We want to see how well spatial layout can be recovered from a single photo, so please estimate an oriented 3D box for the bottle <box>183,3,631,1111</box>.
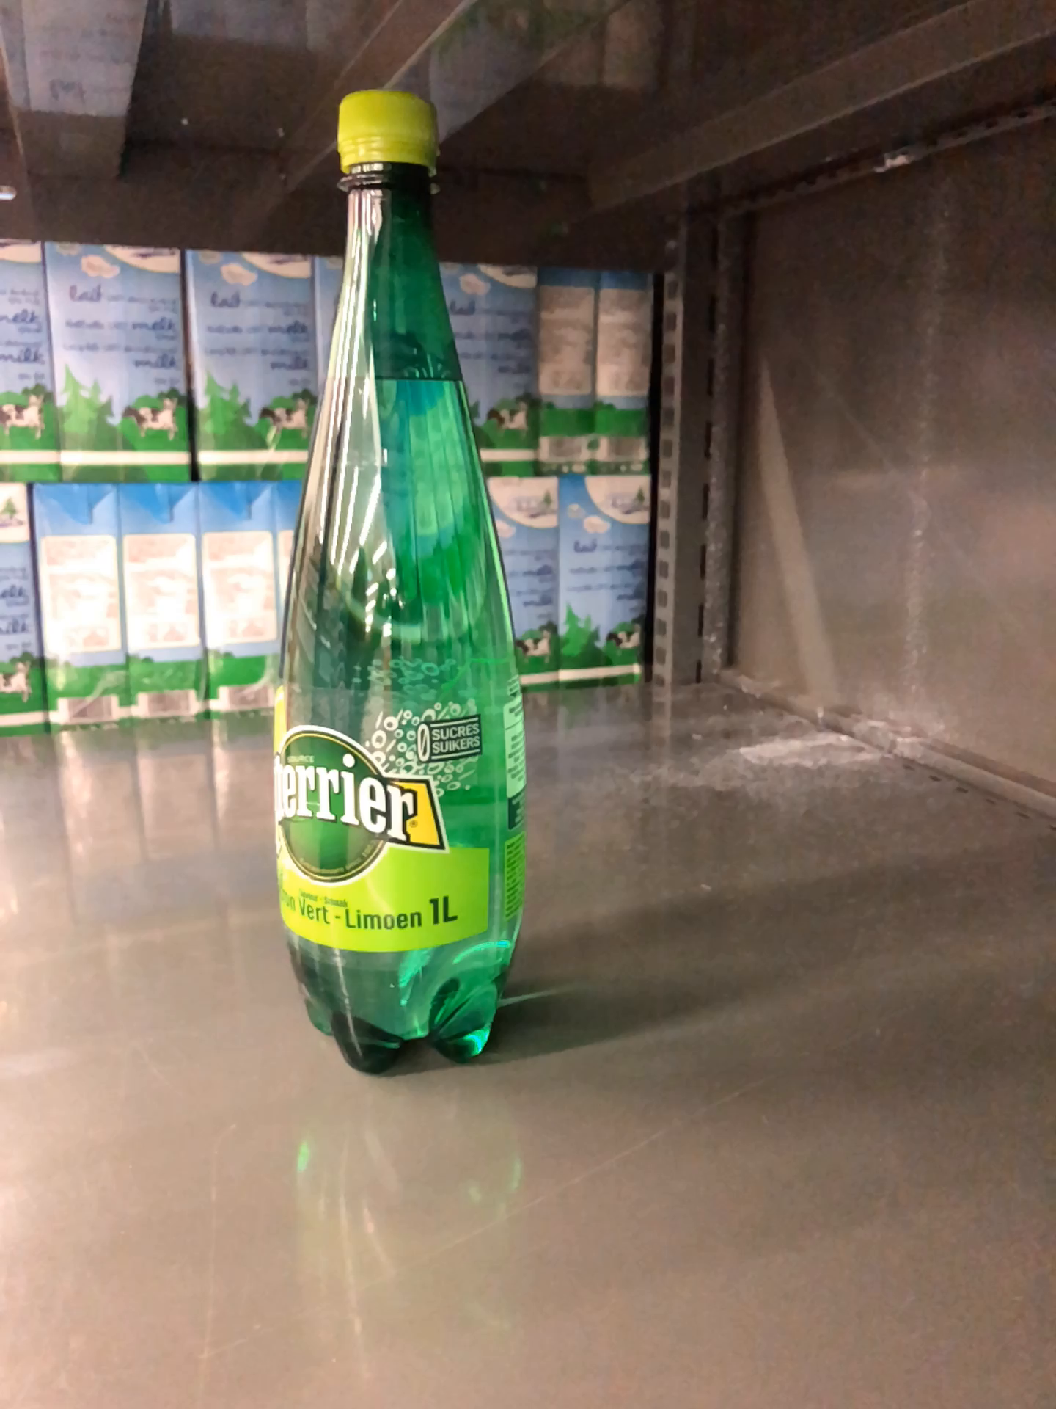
[{"bbox_3d":[-0.037,-0.040,0.382,0.100,0.299,0.090,11,17,42],"label":"bottle"}]
